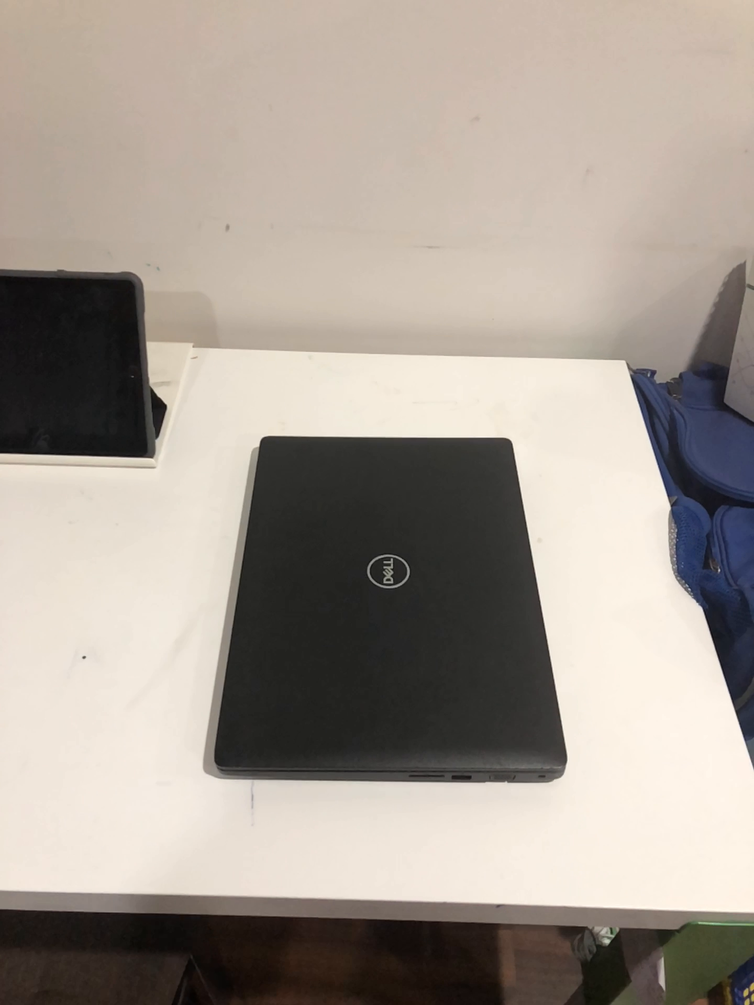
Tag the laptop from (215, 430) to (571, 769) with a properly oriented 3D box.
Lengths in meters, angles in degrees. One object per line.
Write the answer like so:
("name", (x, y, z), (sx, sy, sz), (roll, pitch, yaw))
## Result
("laptop", (0.010, 0.057, 0.677), (0.241, 0.010, 0.334), (-1, 47, 1))
